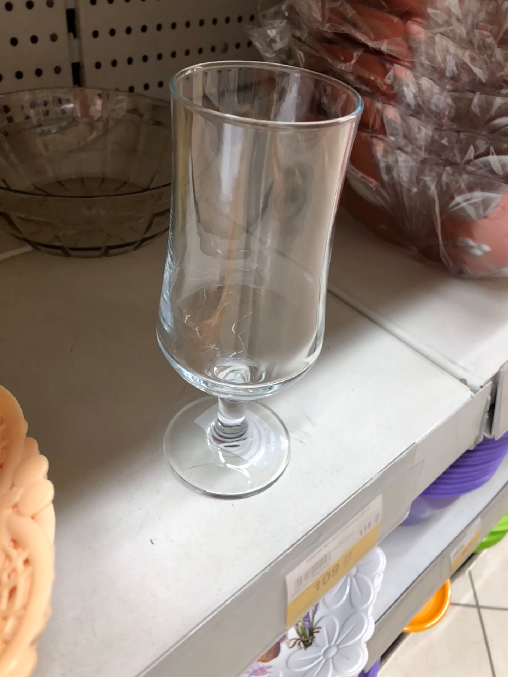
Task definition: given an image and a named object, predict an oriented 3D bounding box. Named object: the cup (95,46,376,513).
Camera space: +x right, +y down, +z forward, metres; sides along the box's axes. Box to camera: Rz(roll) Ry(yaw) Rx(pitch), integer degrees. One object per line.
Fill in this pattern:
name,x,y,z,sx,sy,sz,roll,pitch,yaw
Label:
cup,-0.008,-0.016,0.247,0.079,0.177,0.079,4,41,-4
